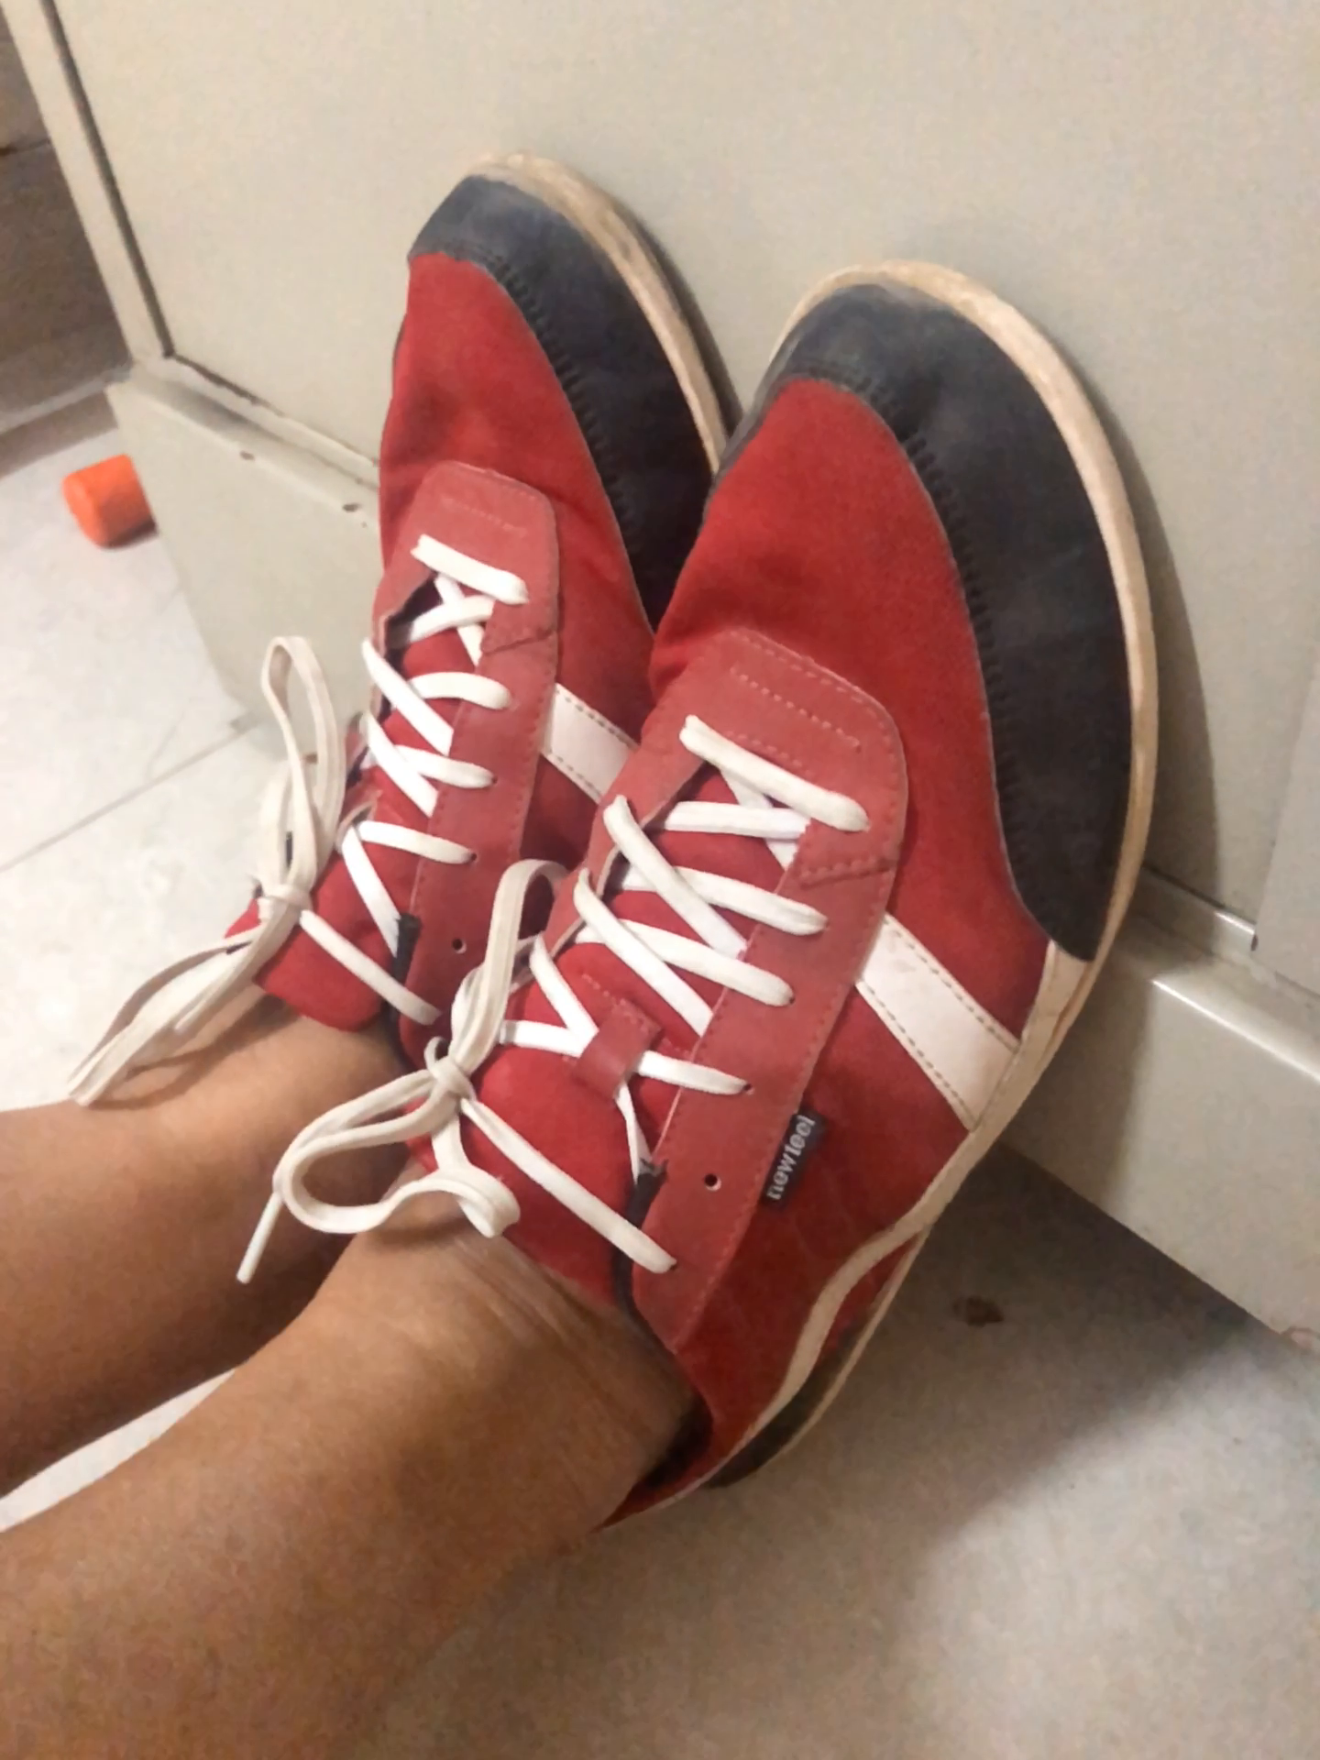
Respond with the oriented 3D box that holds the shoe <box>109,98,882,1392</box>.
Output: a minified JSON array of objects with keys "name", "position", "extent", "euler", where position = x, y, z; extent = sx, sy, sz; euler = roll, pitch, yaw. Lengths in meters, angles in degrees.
[{"name":"shoe","position":[-0.040,-0.028,0.316],"extent":[0.100,0.229,0.080],"euler":[20,17,27]}]

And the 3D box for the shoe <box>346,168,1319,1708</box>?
[{"name":"shoe","position":[0.029,0.014,0.285],"extent":[0.100,0.249,0.080],"euler":[32,23,35]}]
